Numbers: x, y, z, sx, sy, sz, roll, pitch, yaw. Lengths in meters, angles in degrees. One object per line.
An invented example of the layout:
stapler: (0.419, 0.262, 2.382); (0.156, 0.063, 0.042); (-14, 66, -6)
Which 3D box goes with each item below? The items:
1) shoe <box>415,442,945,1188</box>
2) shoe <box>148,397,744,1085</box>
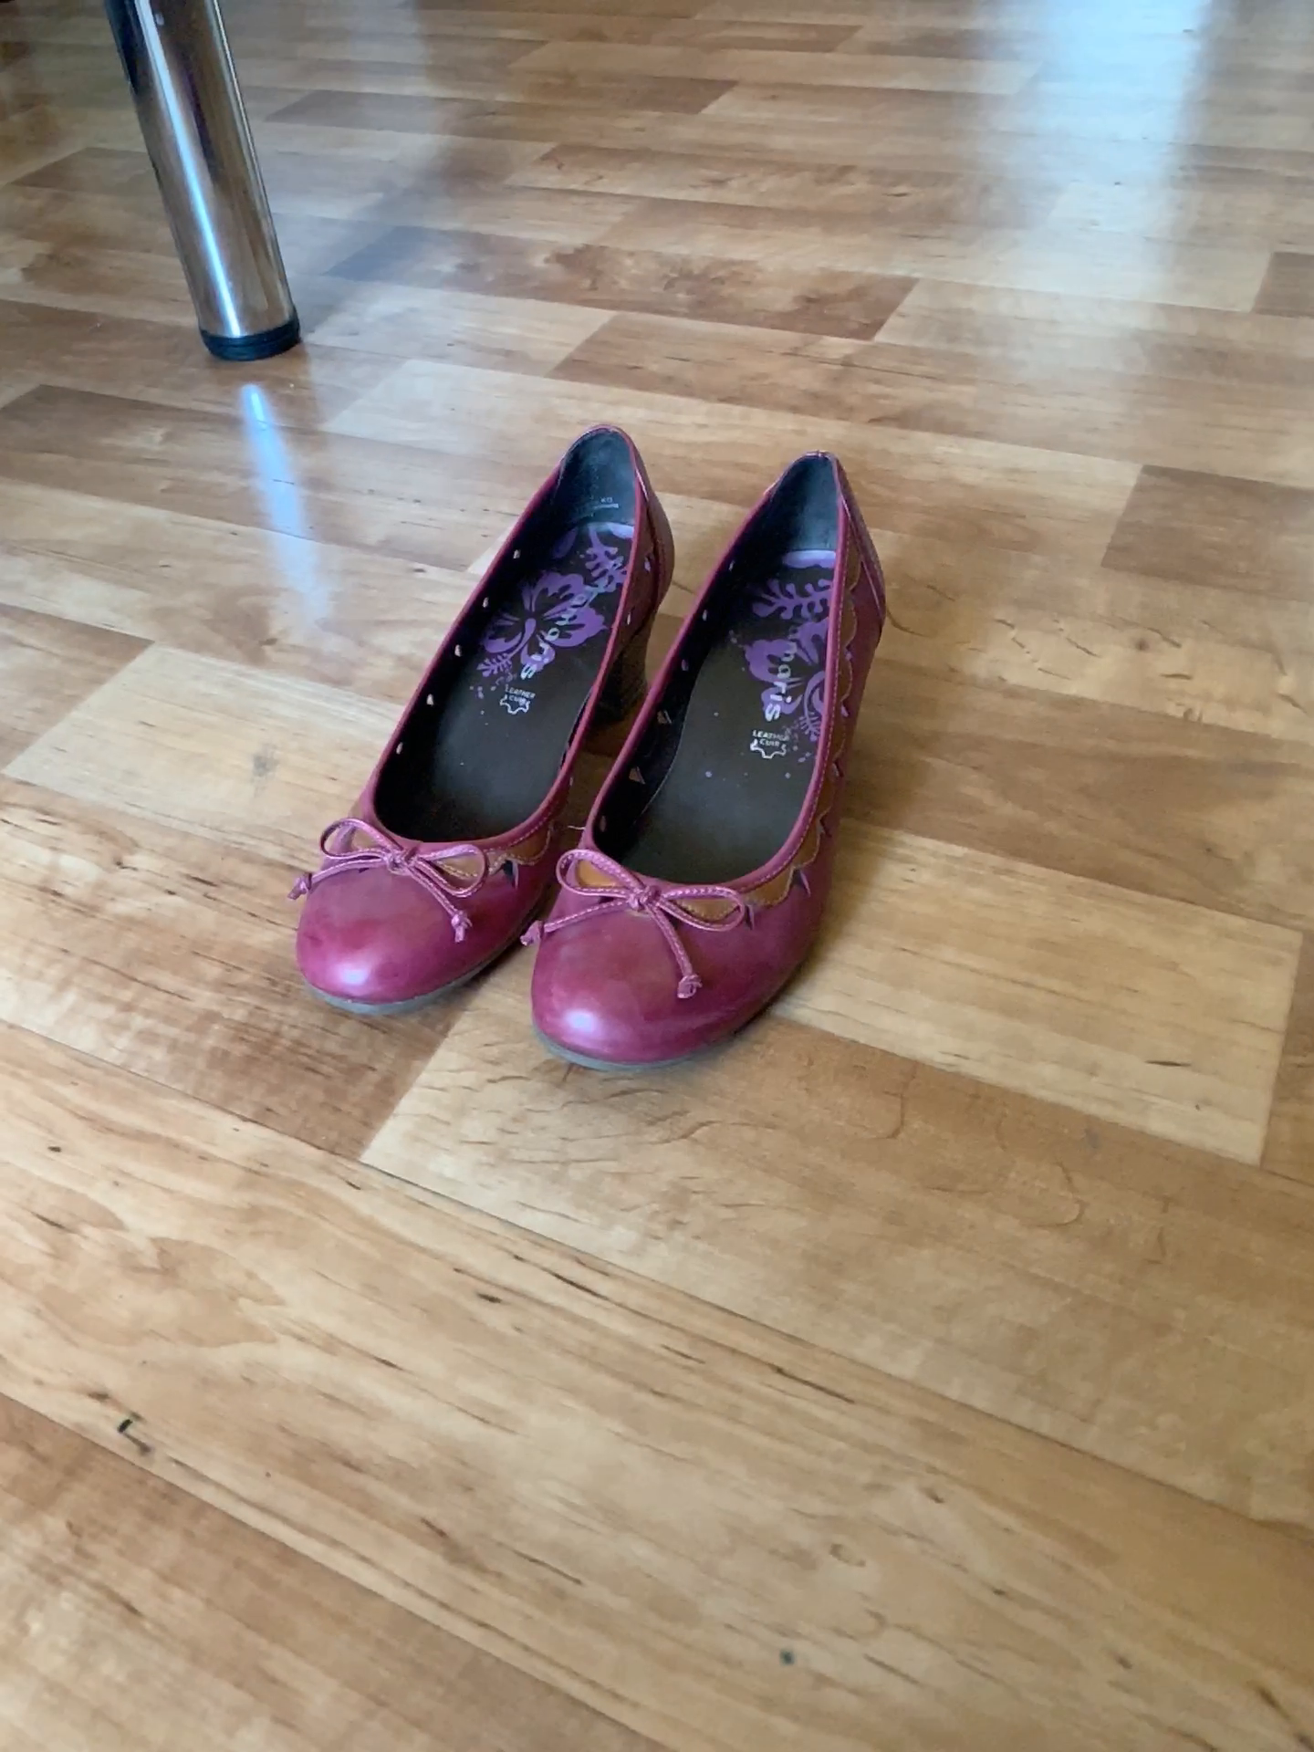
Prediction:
shoe: (0.024, -0.036, 0.456); (0.090, 0.109, 0.241); (12, 47, 17)
shoe: (-0.053, -0.062, 0.484); (0.090, 0.109, 0.241); (13, 47, 19)
